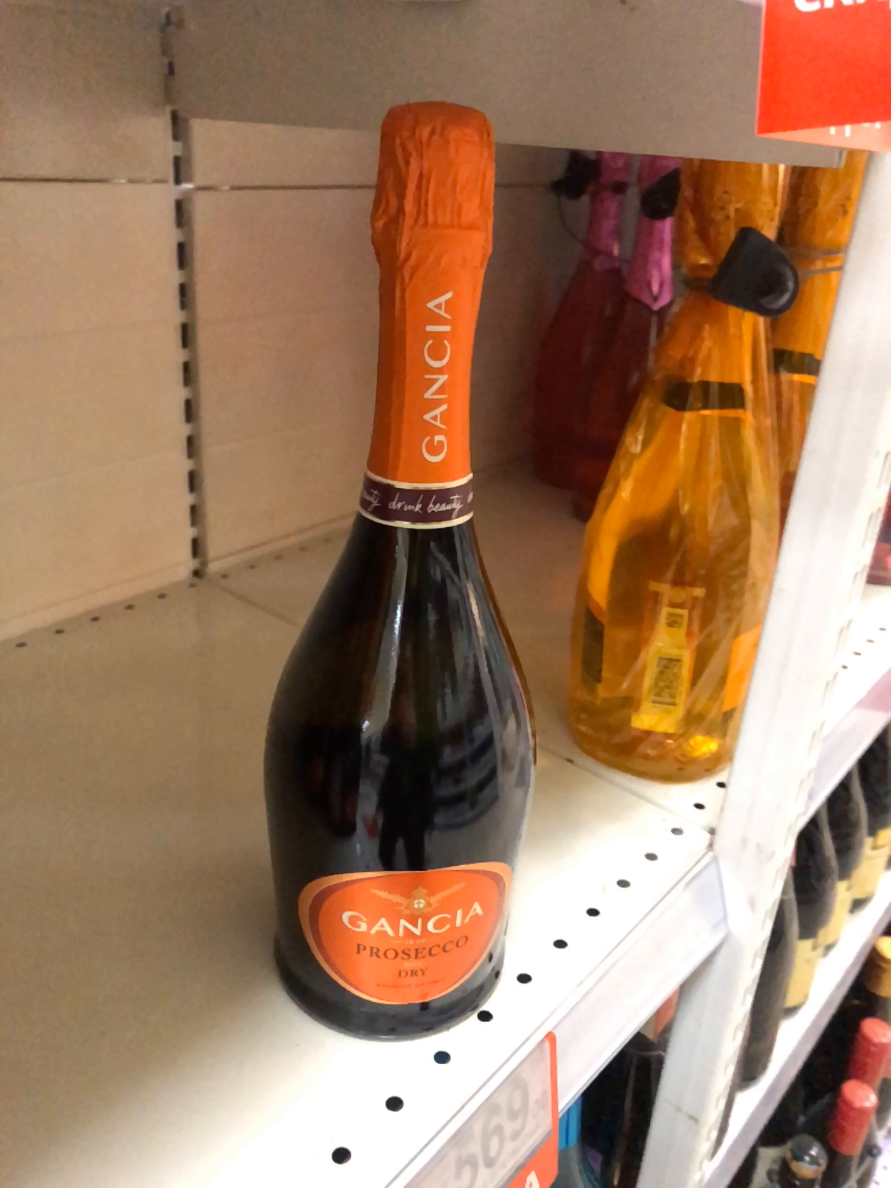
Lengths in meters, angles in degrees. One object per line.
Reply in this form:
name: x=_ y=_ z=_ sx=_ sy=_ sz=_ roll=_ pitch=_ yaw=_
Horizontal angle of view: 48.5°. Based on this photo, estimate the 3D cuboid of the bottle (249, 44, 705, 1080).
bottle: x=-0.010 y=0.002 z=0.326 sx=0.100 sy=0.308 sz=0.101 roll=3 pitch=25 yaw=-2
